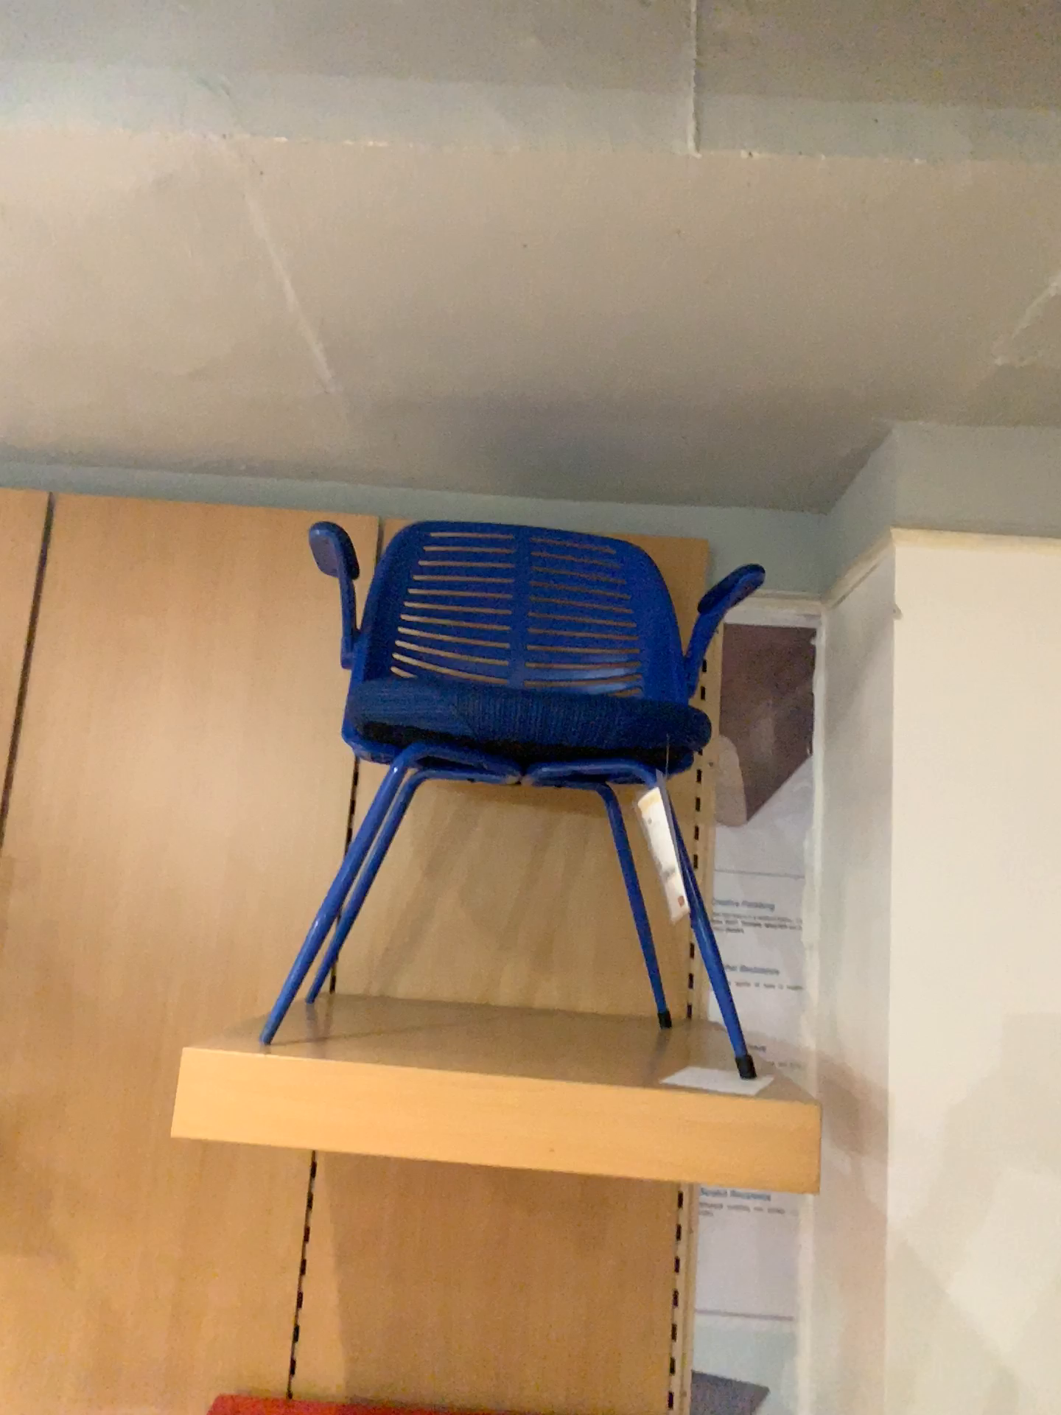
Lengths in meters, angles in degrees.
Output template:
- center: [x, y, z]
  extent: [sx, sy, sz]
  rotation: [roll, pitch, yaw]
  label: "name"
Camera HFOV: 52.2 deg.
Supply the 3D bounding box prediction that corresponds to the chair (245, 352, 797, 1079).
- center: [-0.008, 0.035, 1.503]
  extent: [0.570, 0.792, 0.549]
  rotation: [5, -10, -3]
  label: "chair"
